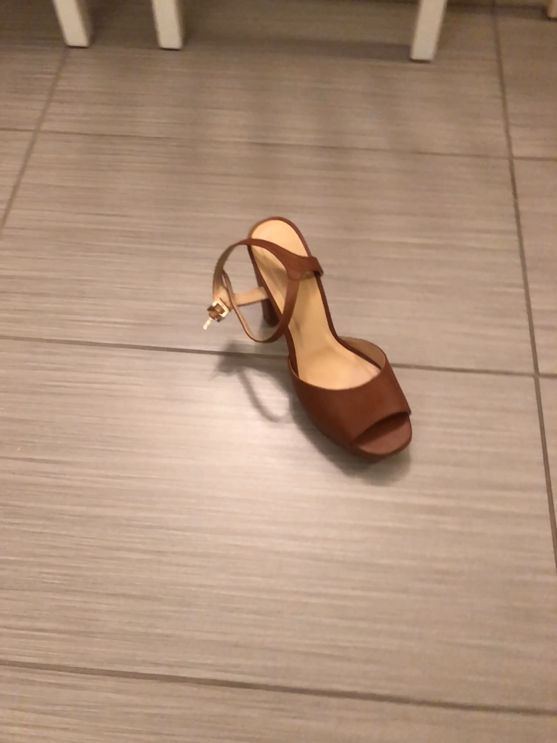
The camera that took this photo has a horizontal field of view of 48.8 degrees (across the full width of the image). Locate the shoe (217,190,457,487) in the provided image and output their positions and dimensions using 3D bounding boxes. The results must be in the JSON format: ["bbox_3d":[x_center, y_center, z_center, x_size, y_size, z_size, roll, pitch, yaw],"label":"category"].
[{"bbox_3d":[0.044,-0.033,0.573,0.110,0.090,0.240,-23,70,-10],"label":"shoe"}]
